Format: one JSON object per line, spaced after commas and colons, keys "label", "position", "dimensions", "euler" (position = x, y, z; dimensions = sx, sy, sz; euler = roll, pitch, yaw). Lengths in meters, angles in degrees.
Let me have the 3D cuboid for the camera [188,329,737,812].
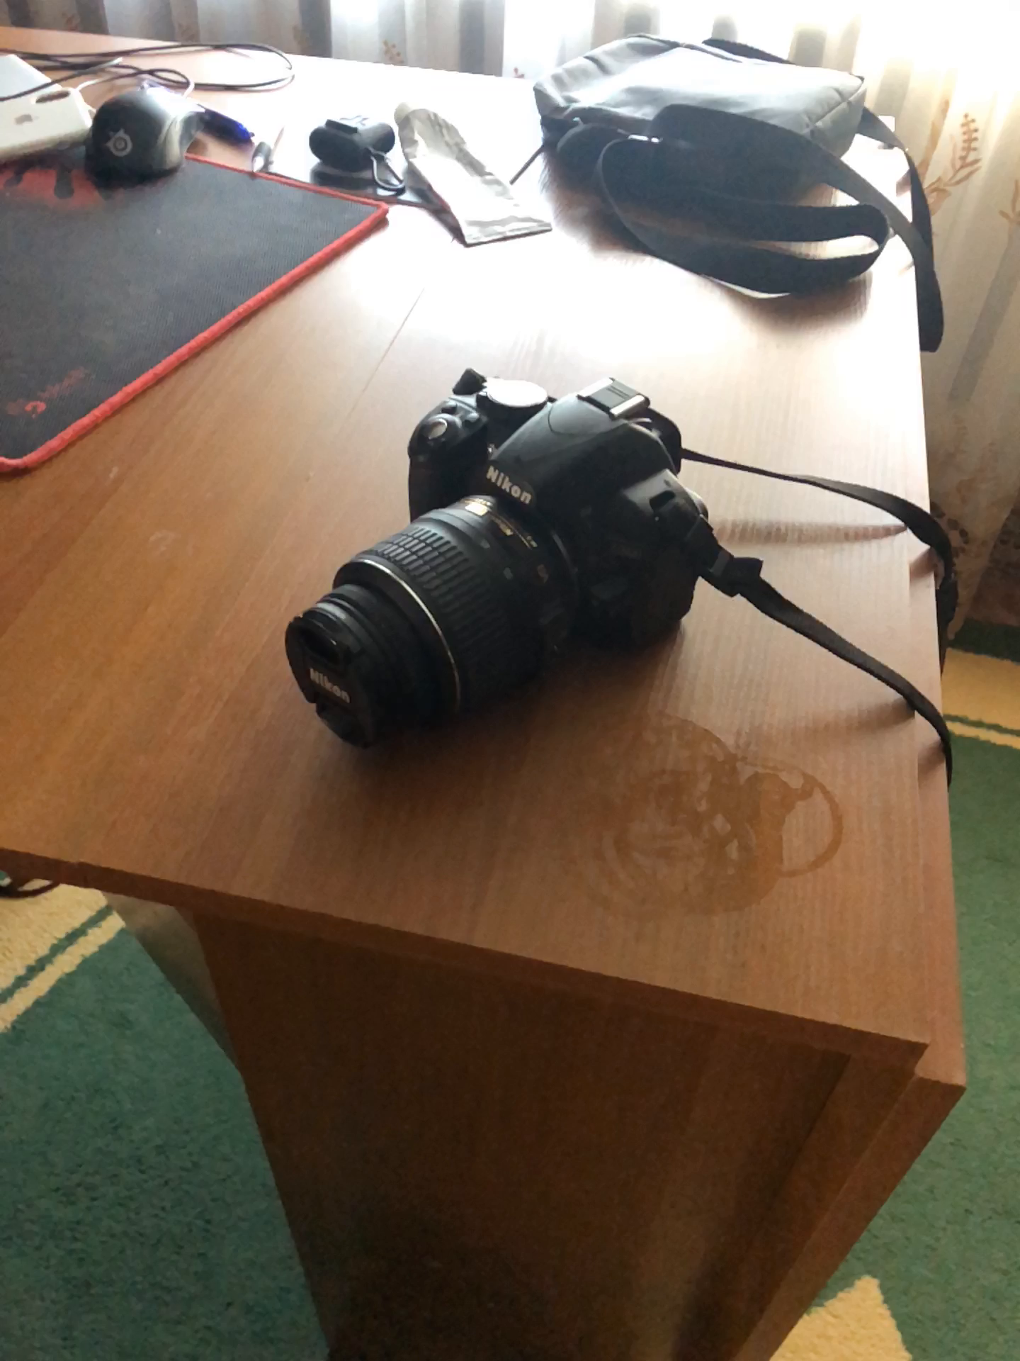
{"label": "camera", "position": [-0.015, -0.050, 0.426], "dimensions": [0.162, 0.078, 0.111], "euler": [-33, 55, -30]}
